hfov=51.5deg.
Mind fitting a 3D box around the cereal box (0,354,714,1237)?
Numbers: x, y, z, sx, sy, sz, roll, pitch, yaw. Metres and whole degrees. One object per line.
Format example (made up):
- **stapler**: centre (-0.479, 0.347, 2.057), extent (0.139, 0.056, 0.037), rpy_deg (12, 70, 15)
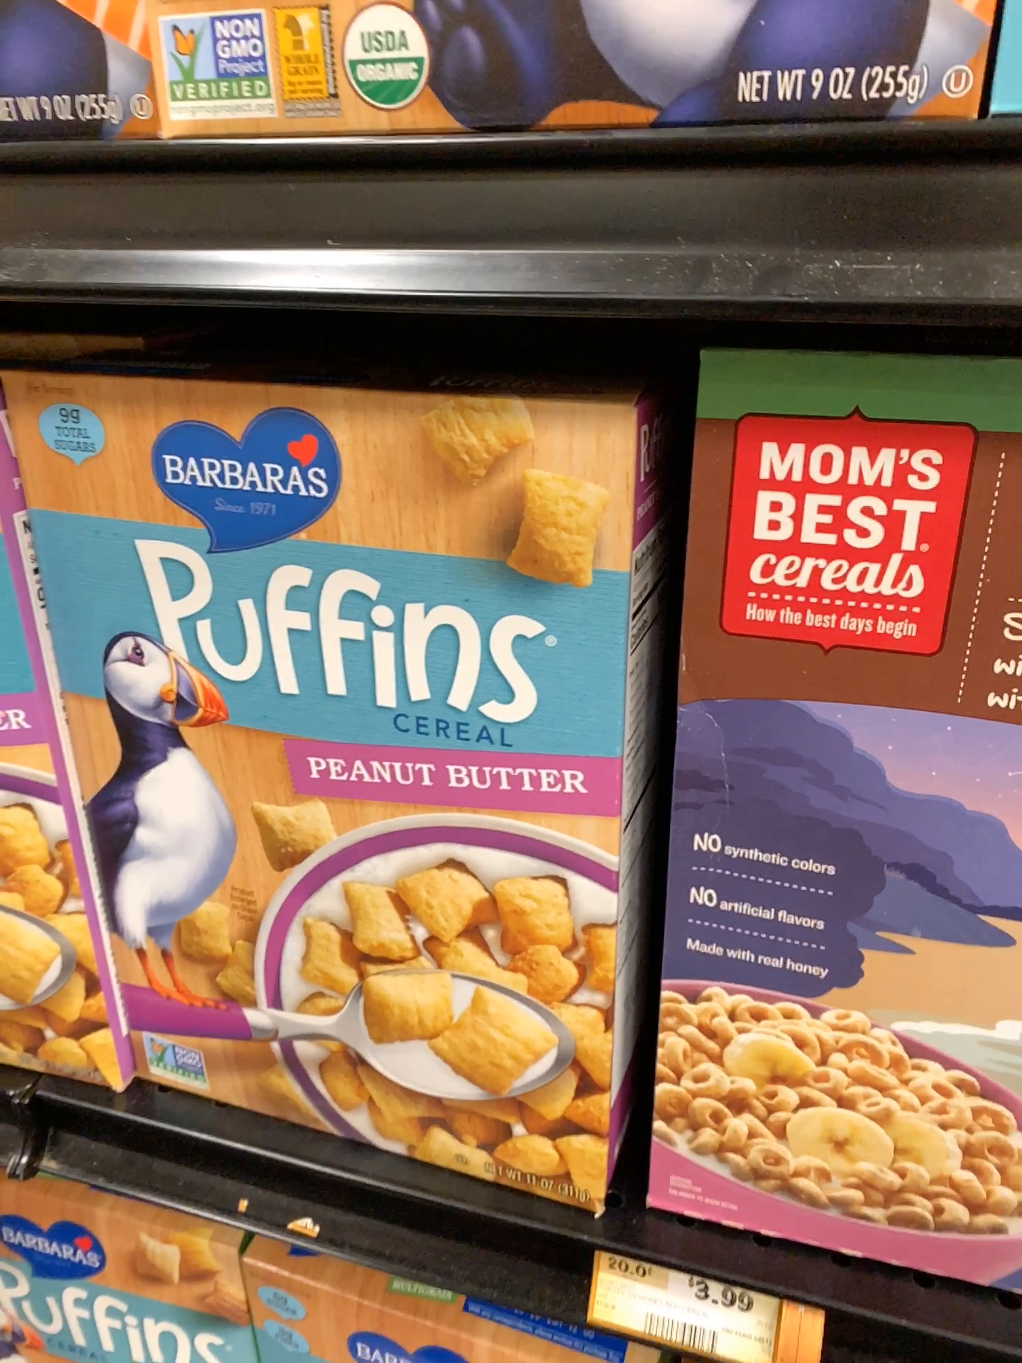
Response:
- **cereal box**: centre (-0.048, 0.032, 0.355), extent (0.200, 0.259, 0.070), rpy_deg (8, 22, 18)
